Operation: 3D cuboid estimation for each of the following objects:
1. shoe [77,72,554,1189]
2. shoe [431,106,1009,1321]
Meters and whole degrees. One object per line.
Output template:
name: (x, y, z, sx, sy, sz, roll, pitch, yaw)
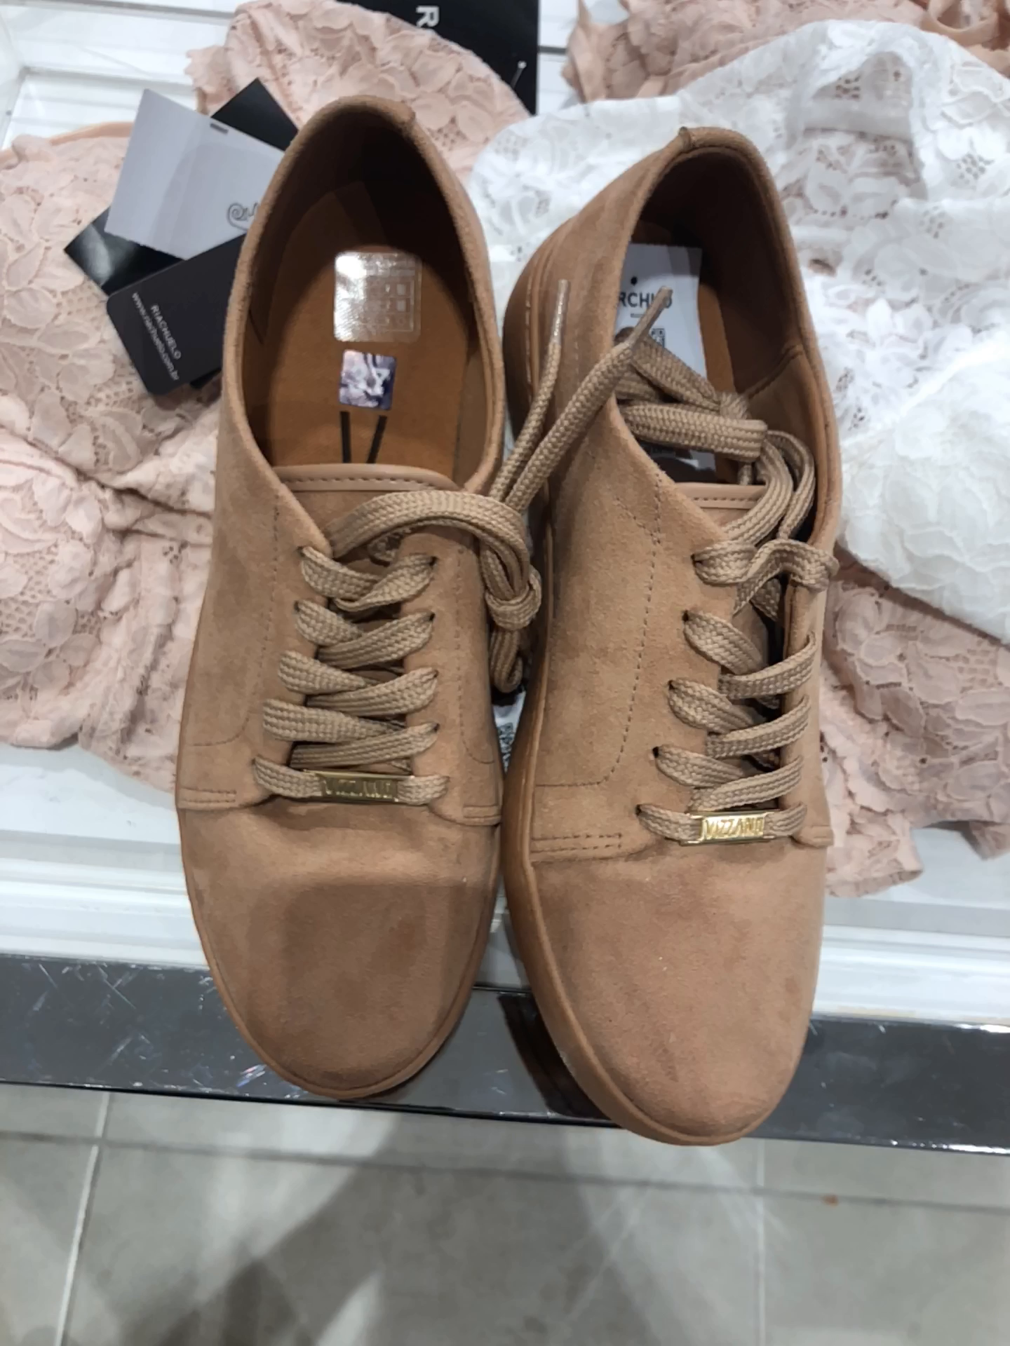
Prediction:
shoe: (-0.042, -0.009, 0.295, 0.090, 0.100, 0.240, 3, 86, -3)
shoe: (0.045, 0.006, 0.283, 0.090, 0.100, 0.240, -1, 83, -19)
